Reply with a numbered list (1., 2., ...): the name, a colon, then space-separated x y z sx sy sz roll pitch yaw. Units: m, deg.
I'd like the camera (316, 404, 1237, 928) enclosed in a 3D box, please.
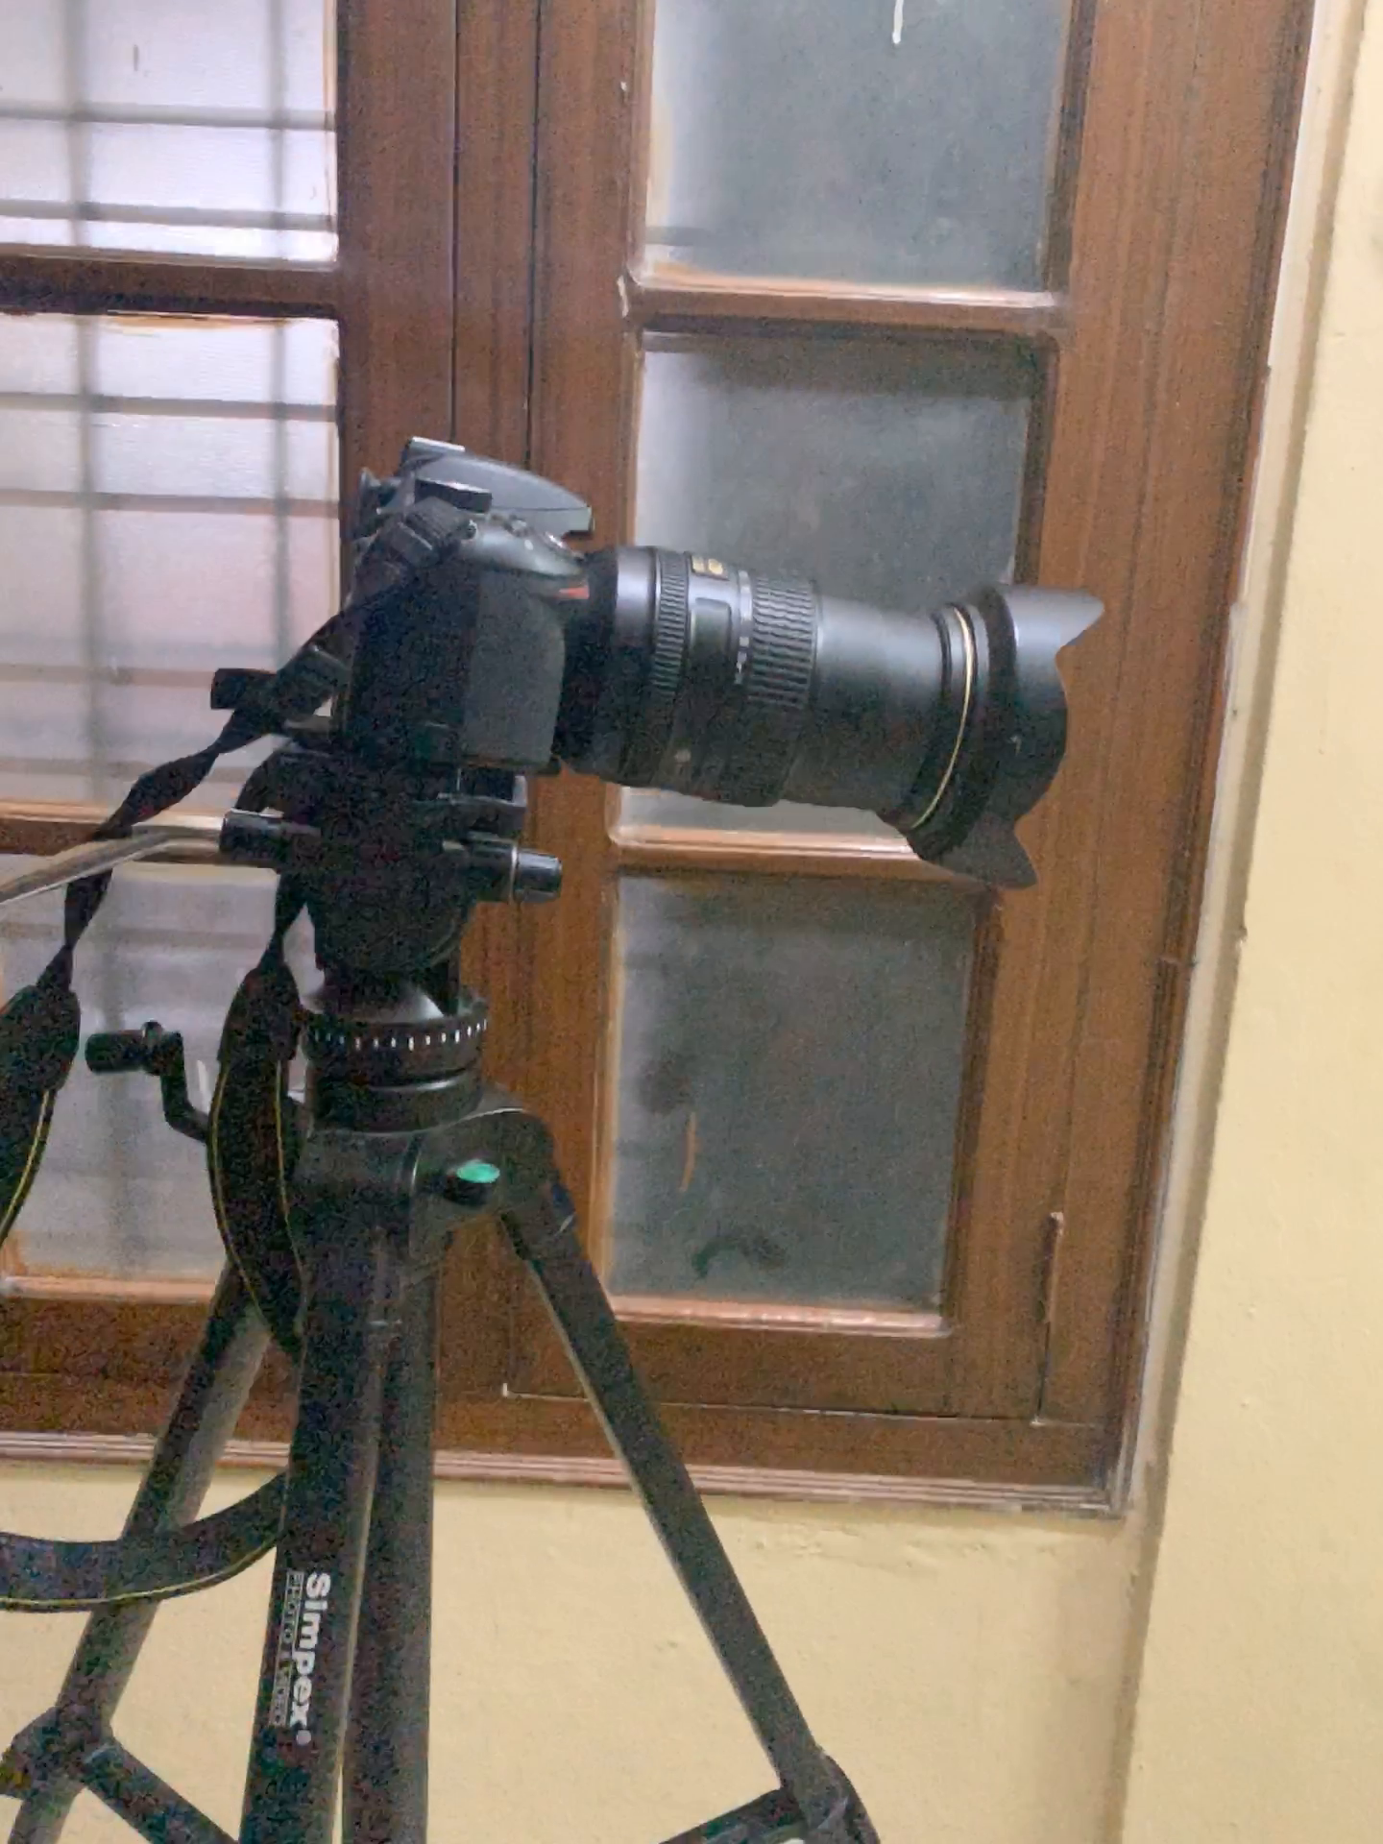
1. camera: 0.022 -0.089 0.501 0.270 0.120 0.130 8 13 -6
